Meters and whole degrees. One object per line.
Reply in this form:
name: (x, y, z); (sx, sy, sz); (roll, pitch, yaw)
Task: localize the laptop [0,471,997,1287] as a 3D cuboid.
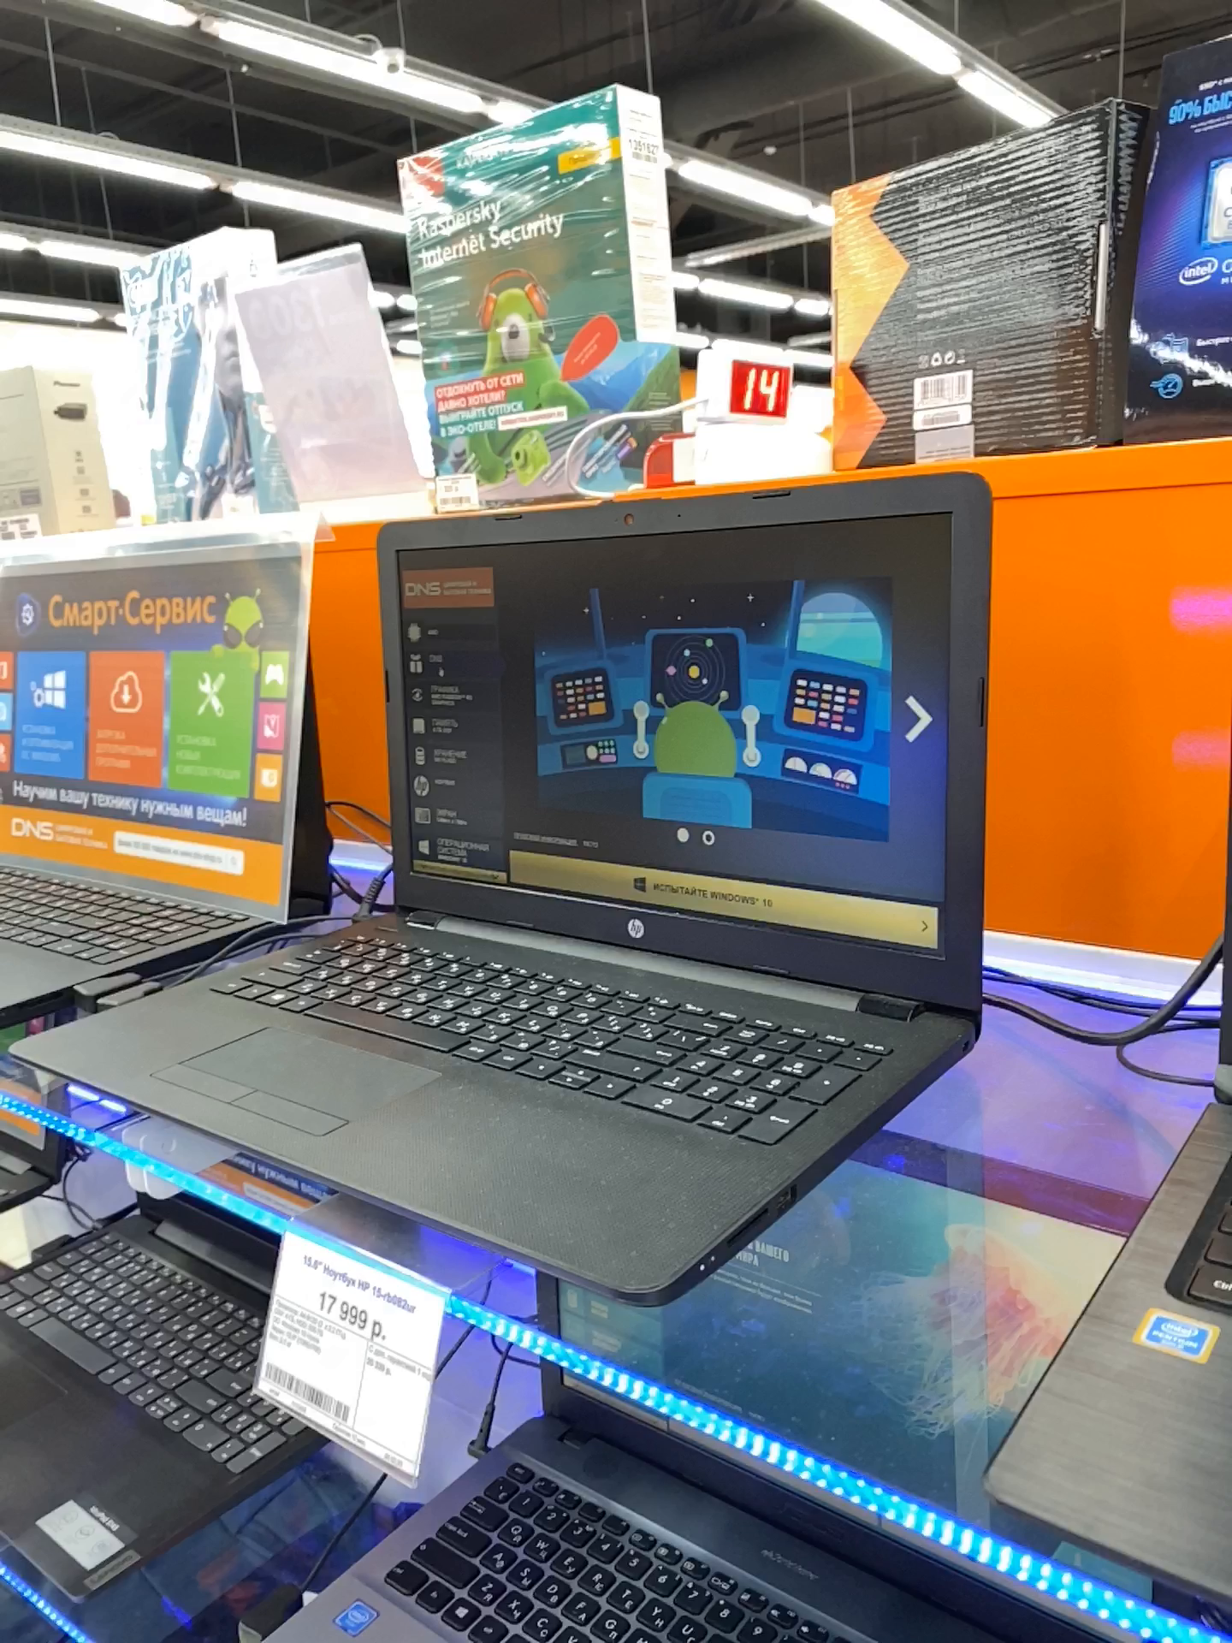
laptop: (-0.063, -0.020, 0.561); (0.370, 0.231, 0.271); (5, 15, 37)
